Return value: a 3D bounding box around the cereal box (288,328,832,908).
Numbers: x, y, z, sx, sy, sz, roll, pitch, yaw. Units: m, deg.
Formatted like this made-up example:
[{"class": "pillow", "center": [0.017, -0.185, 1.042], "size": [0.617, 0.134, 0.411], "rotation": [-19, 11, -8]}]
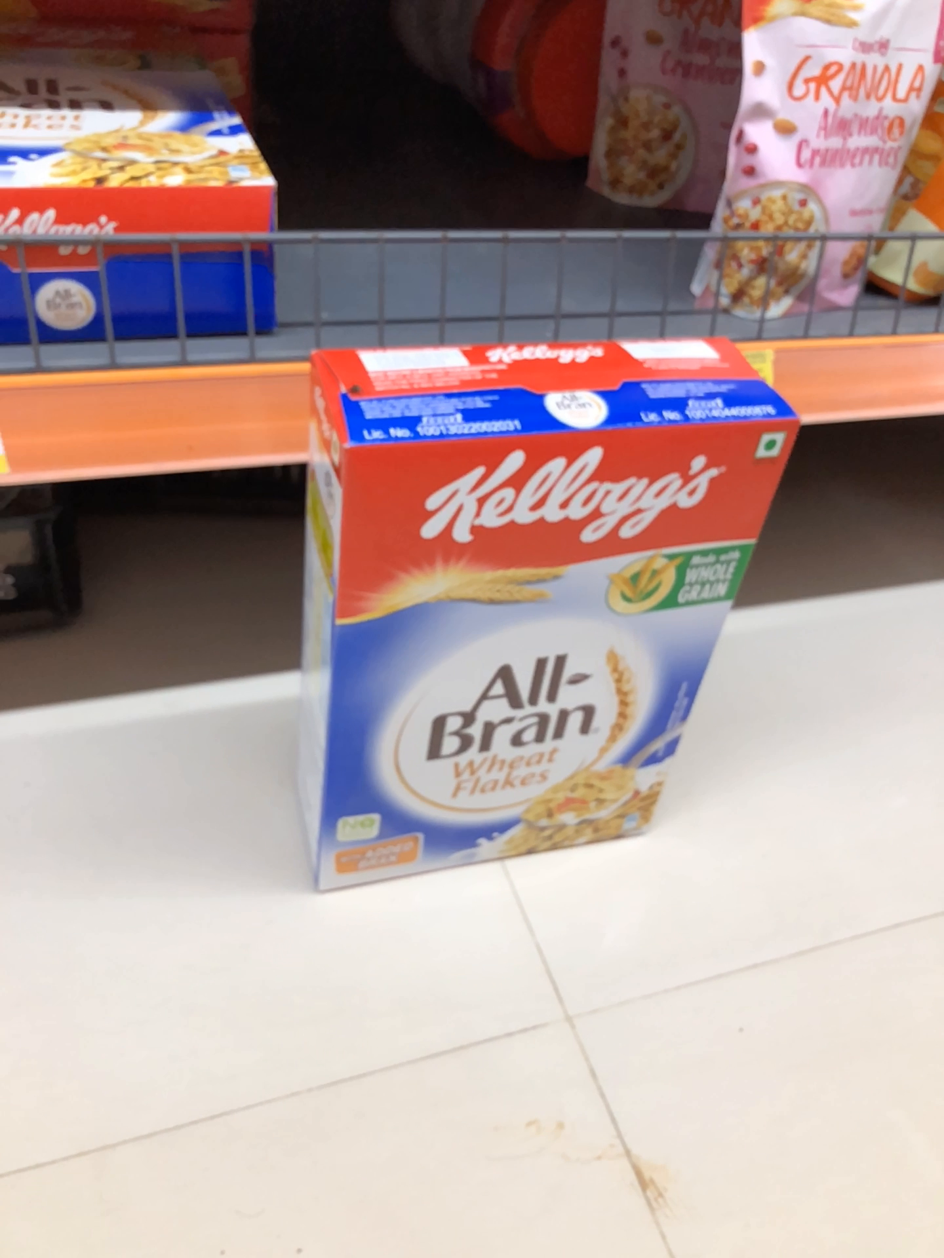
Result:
[{"class": "cereal box", "center": [0.019, 0.003, 0.484], "size": [0.190, 0.258, 0.080], "rotation": [-6, 43, -18]}]
